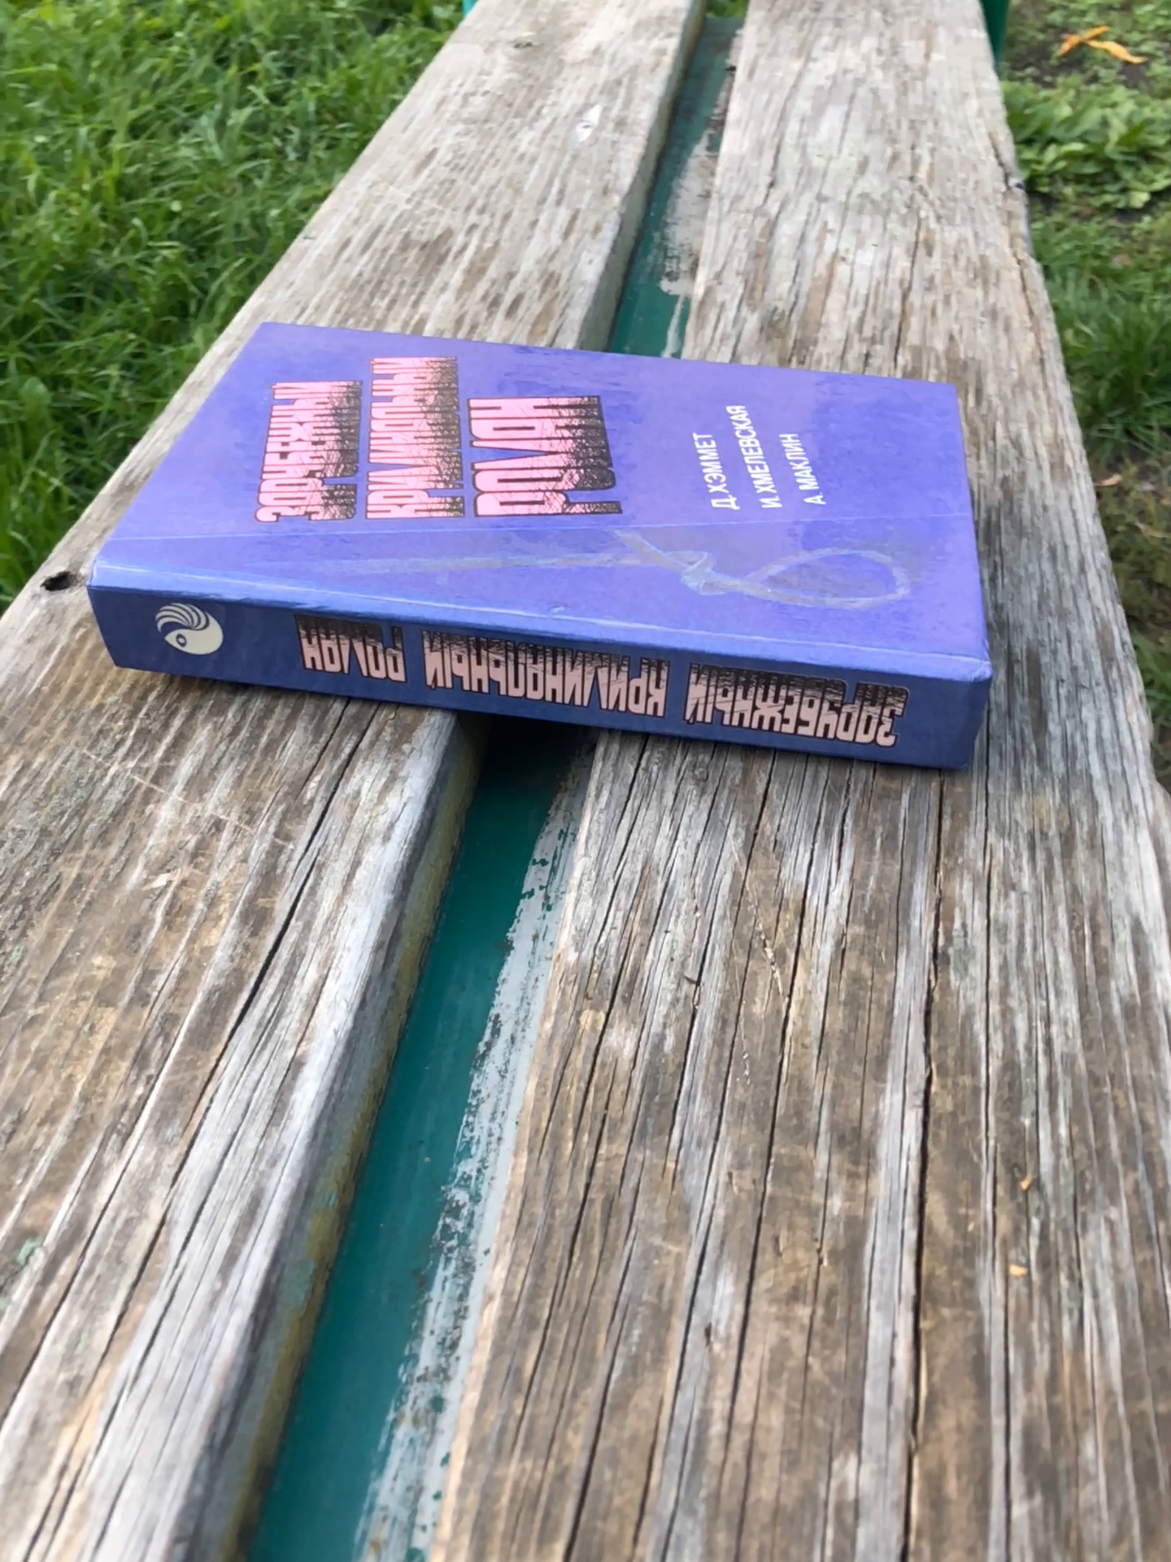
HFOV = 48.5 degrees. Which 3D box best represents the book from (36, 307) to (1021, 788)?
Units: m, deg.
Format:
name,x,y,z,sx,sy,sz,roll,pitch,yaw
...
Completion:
name,x,y,z,sx,sy,sz,roll,pitch,yaw
book,-0.006,-0.066,0.323,0.204,0.030,0.131,6,45,4
